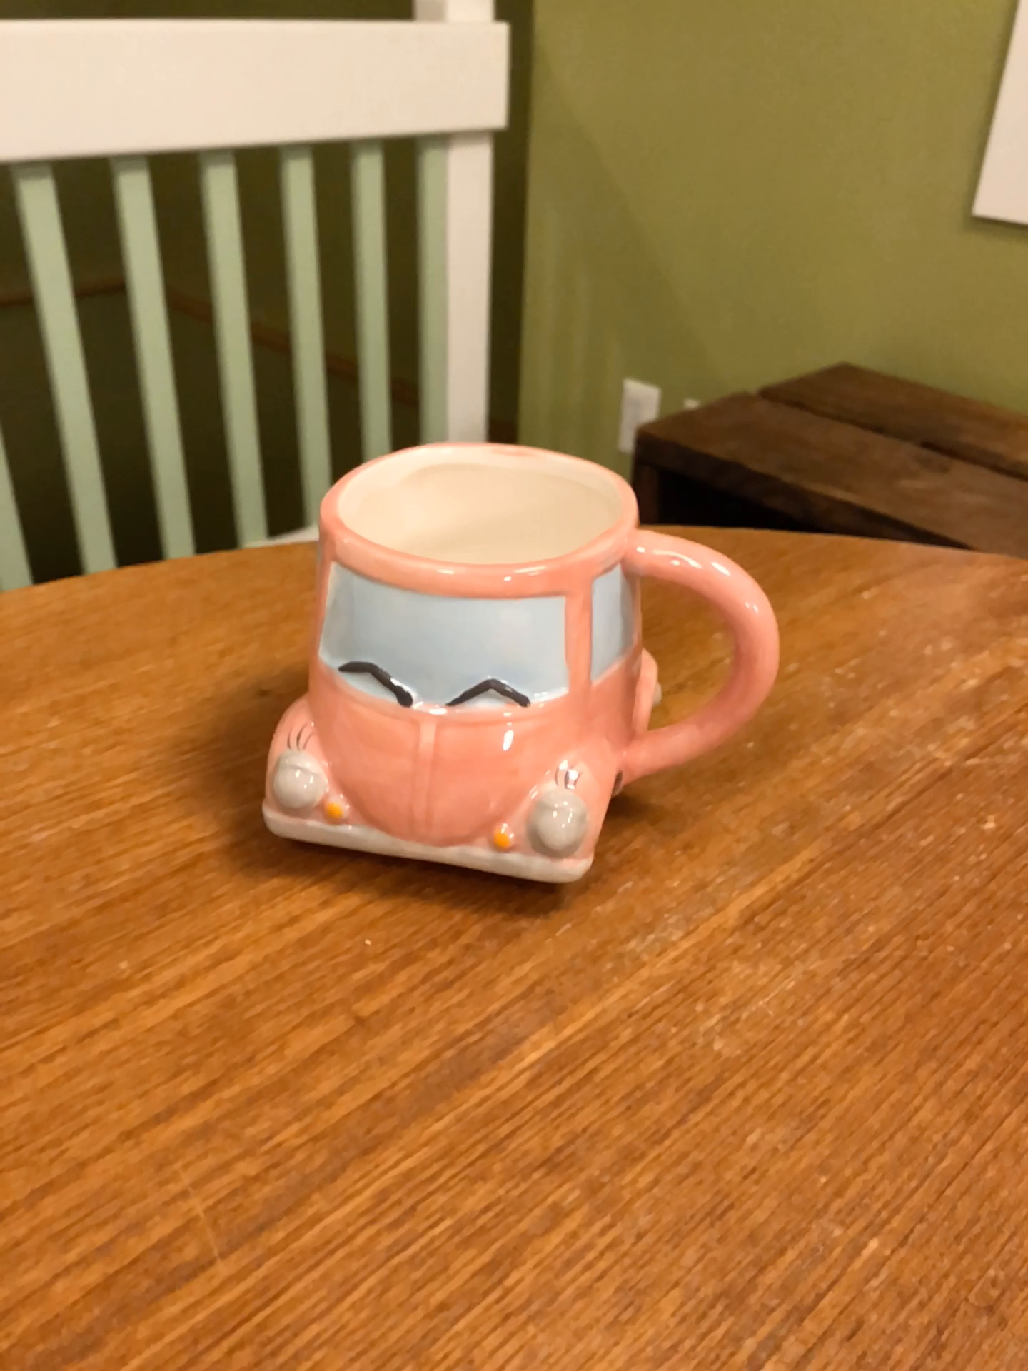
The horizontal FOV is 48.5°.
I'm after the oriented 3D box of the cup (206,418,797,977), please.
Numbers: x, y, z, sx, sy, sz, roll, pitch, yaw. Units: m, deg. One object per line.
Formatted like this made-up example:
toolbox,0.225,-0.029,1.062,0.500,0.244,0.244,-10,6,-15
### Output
cup,0.006,-0.006,0.343,0.139,0.097,0.128,1,31,-1
